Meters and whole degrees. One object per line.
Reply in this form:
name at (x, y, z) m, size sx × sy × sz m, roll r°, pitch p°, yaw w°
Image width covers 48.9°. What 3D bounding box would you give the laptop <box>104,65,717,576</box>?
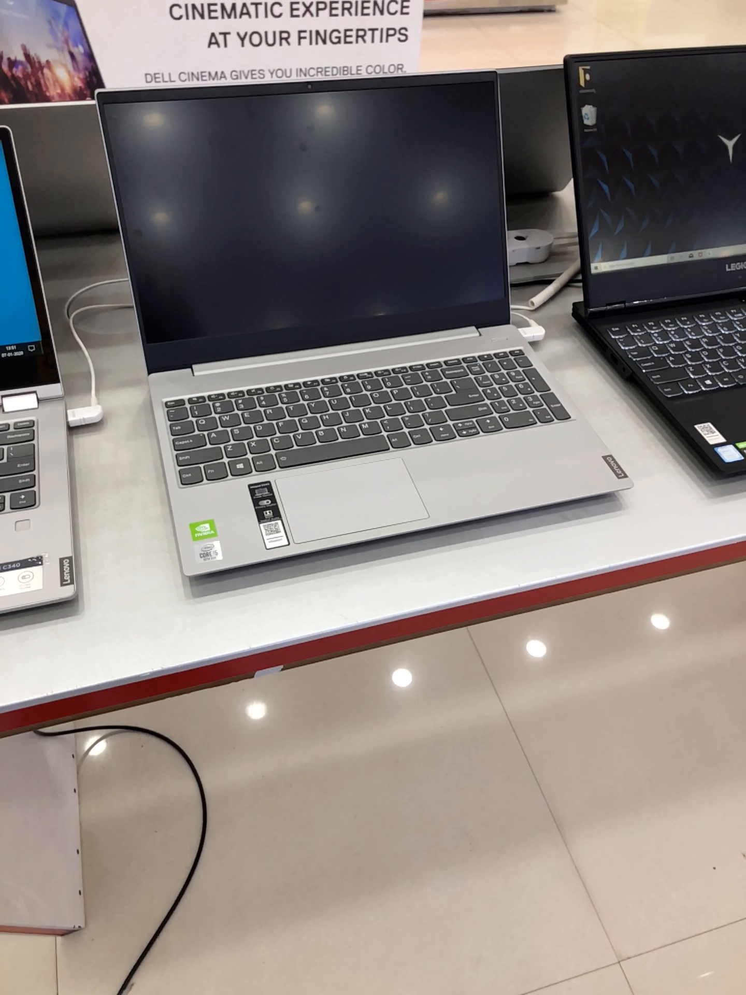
laptop at (-0.006, -0.168, 0.646) m, size 0.342 × 0.196 × 0.346 m, roll -11°, pitch 46°, yaw -14°
